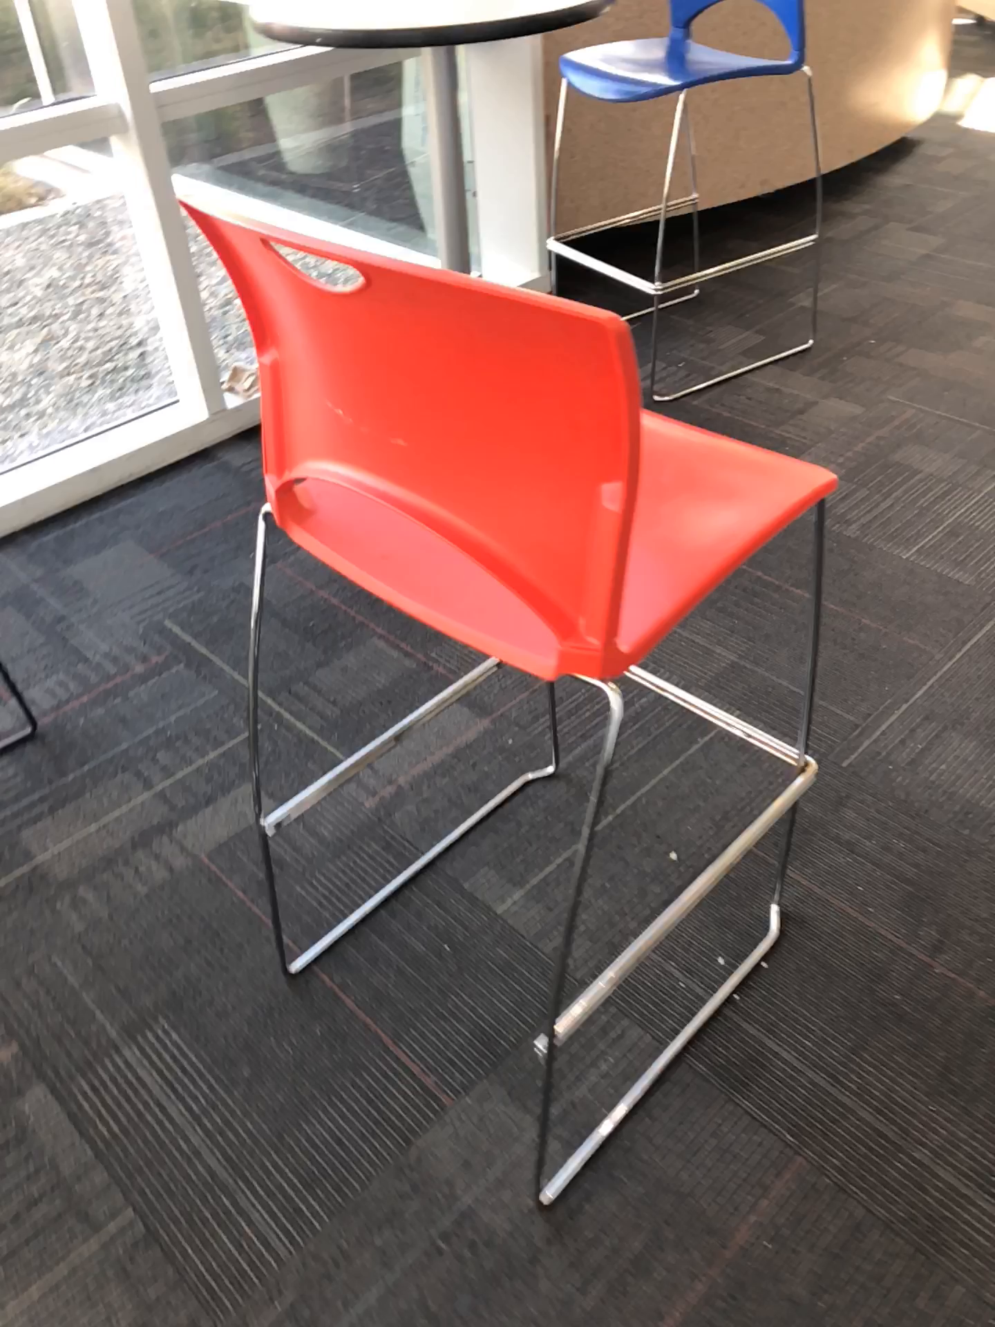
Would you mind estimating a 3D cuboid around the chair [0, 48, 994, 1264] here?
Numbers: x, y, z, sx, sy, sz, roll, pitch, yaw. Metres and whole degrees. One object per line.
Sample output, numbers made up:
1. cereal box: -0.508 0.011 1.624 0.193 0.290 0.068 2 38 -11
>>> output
1. chair: 0.034 -0.030 1.201 0.592 0.995 0.661 27 48 33
